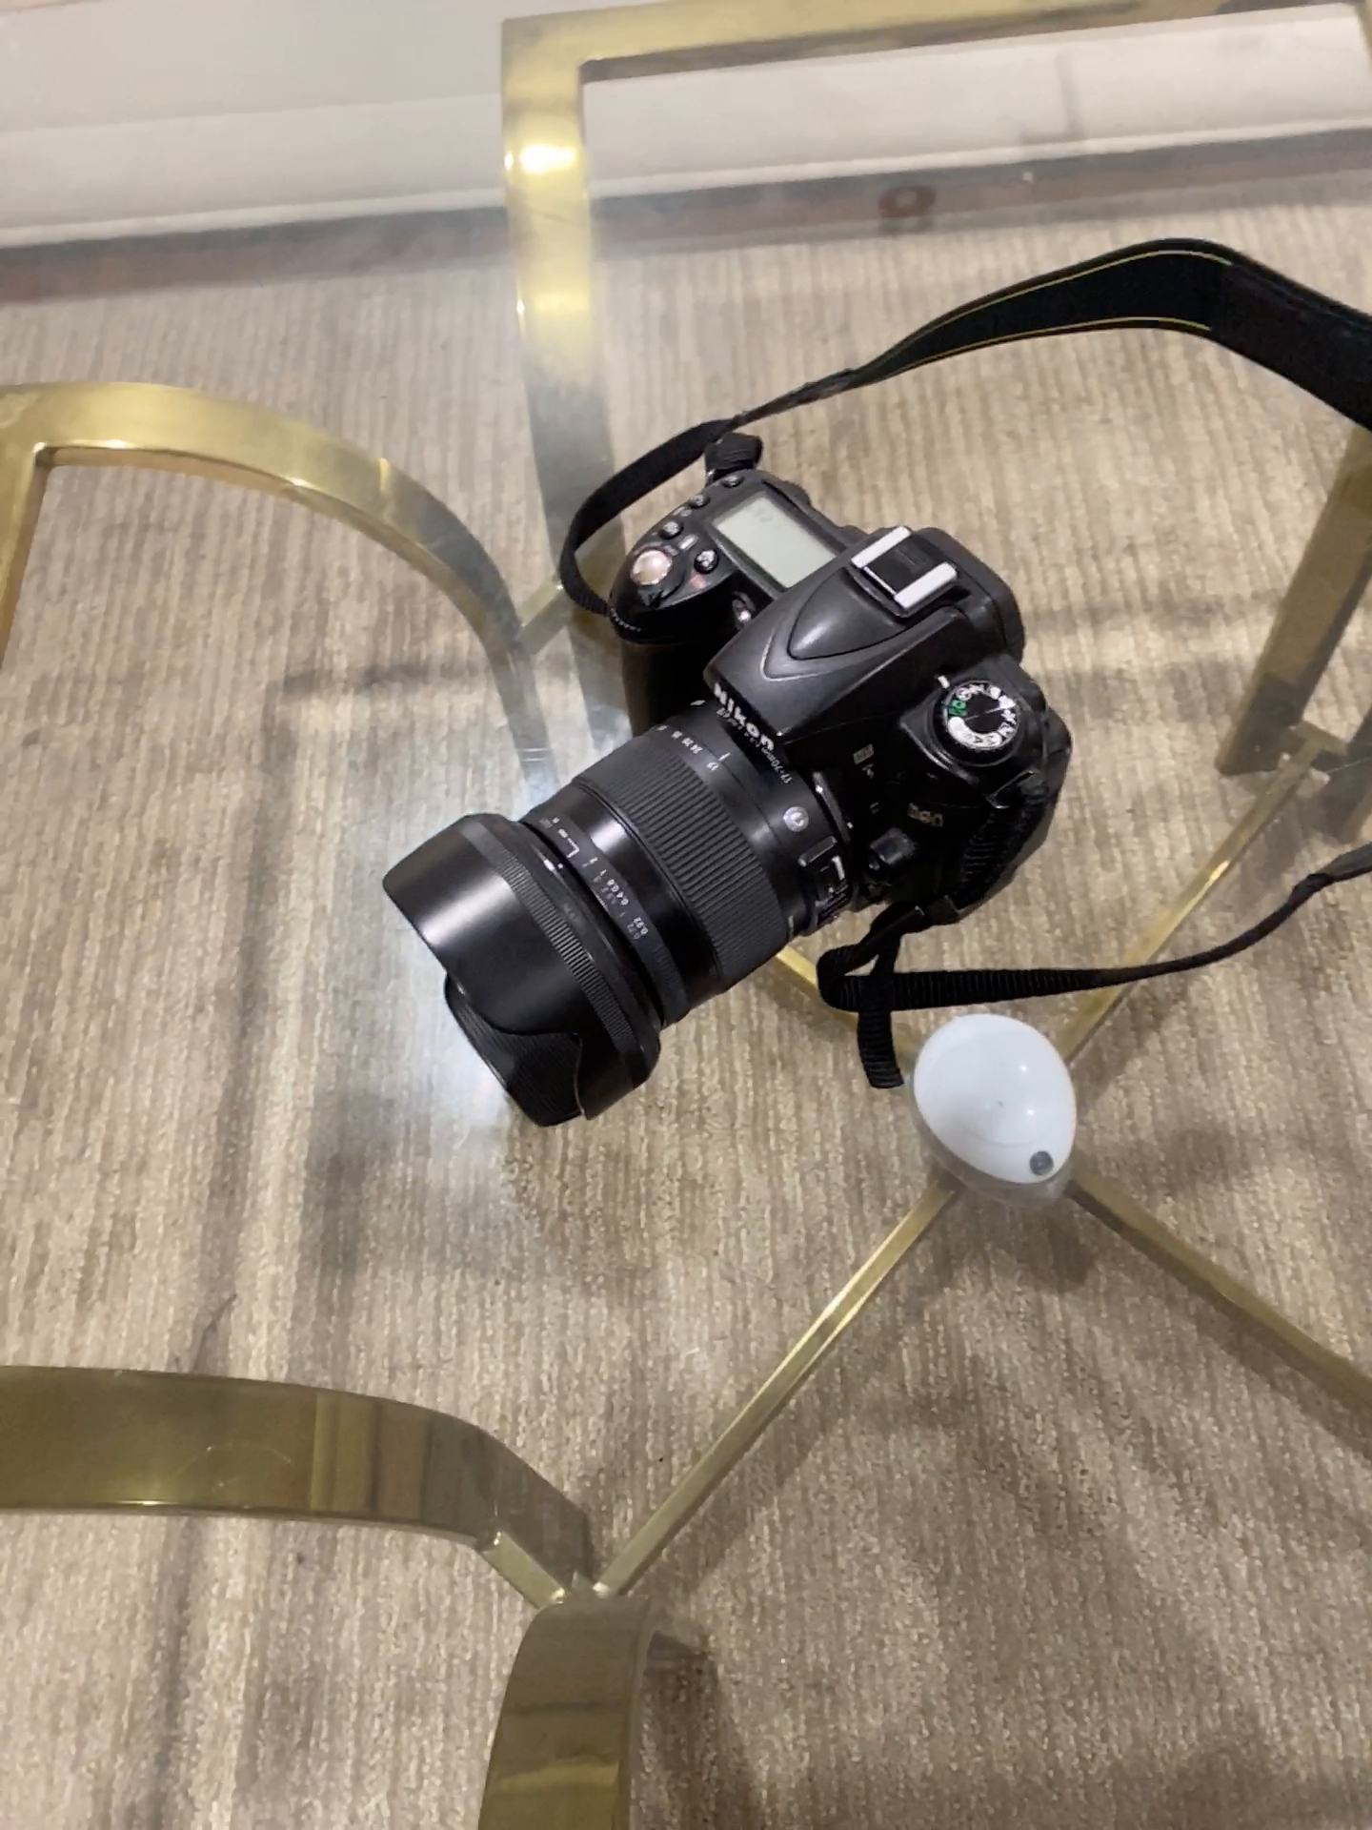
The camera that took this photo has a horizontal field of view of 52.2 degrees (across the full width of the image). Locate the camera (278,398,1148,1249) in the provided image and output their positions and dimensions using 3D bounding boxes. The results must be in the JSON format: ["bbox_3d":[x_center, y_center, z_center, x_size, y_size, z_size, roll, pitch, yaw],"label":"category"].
[{"bbox_3d":[0.010,-0.026,0.409,0.180,0.120,0.130,-37,64,-15],"label":"camera"}]
